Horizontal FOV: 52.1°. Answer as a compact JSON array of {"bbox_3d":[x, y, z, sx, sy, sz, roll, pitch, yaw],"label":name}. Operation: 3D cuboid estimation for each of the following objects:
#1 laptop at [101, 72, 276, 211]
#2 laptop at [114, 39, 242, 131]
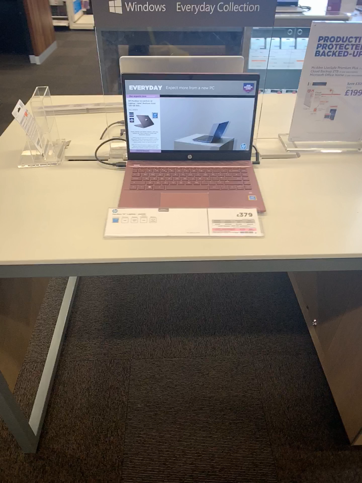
[{"bbox_3d":[0.011,-0.227,0.817,0.312,0.200,0.251,0,40,-1],"label":"laptop"},{"bbox_3d":[-0.015,-0.461,1.084,0.324,0.186,0.245,-1,39,-3],"label":"laptop"}]
